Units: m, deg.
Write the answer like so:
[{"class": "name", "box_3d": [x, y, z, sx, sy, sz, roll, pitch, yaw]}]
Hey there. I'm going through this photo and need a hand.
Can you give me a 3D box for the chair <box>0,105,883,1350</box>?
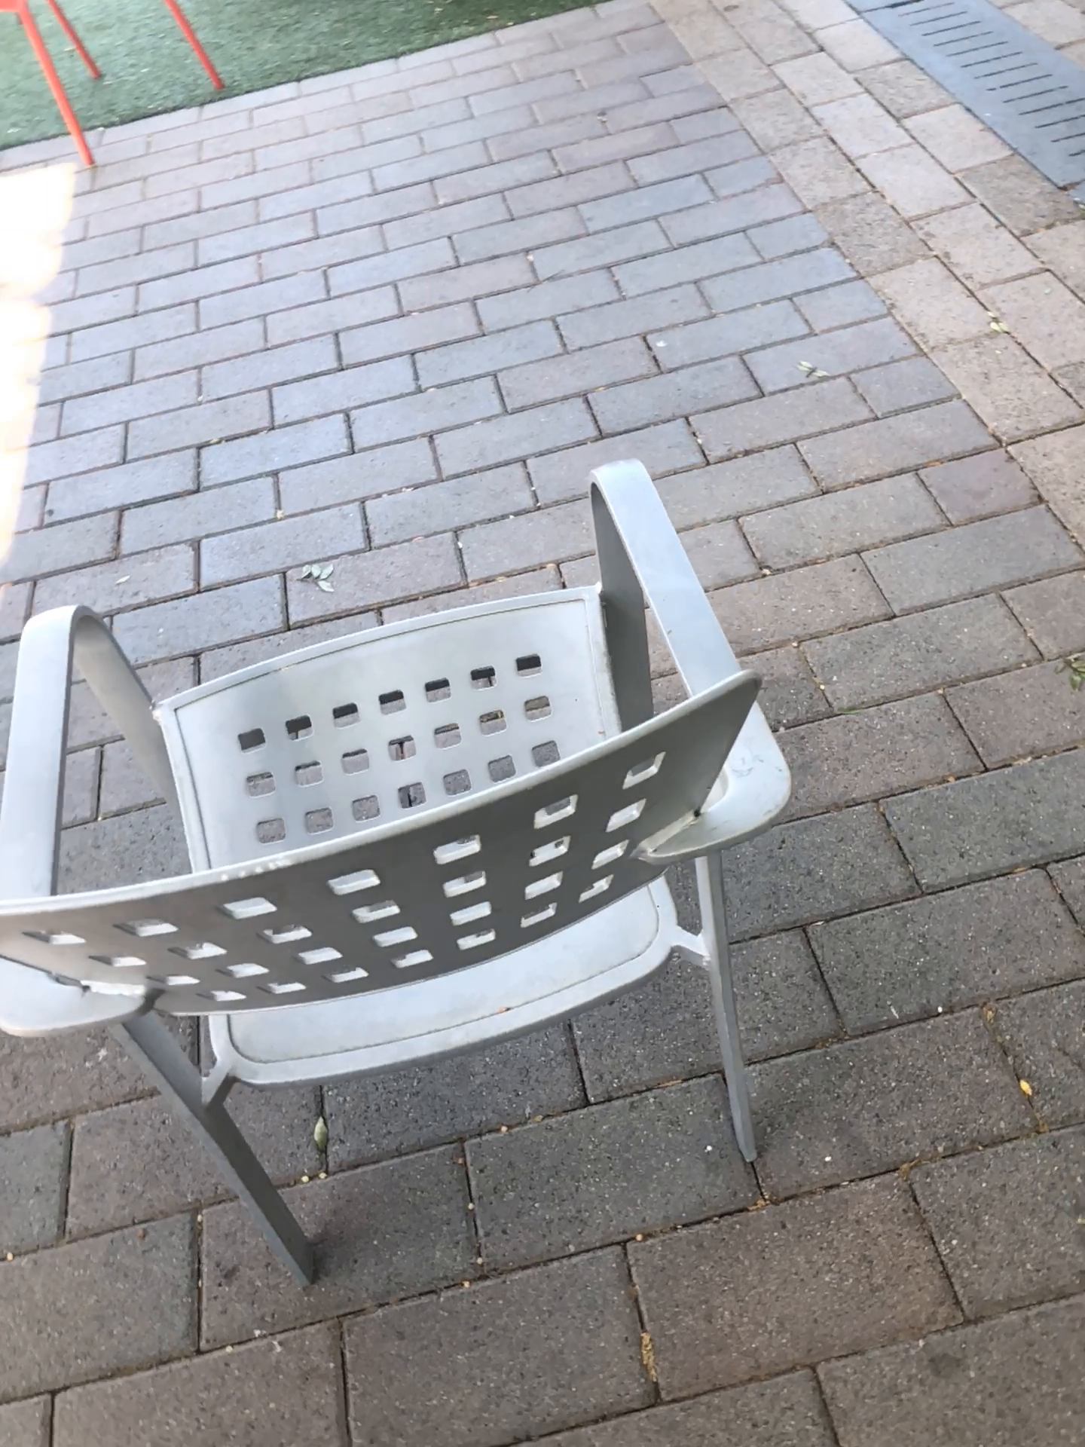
[{"class": "chair", "box_3d": [-0.151, 0.053, 1.048, 0.630, 0.777, 0.593, -16, 50, -2]}]
